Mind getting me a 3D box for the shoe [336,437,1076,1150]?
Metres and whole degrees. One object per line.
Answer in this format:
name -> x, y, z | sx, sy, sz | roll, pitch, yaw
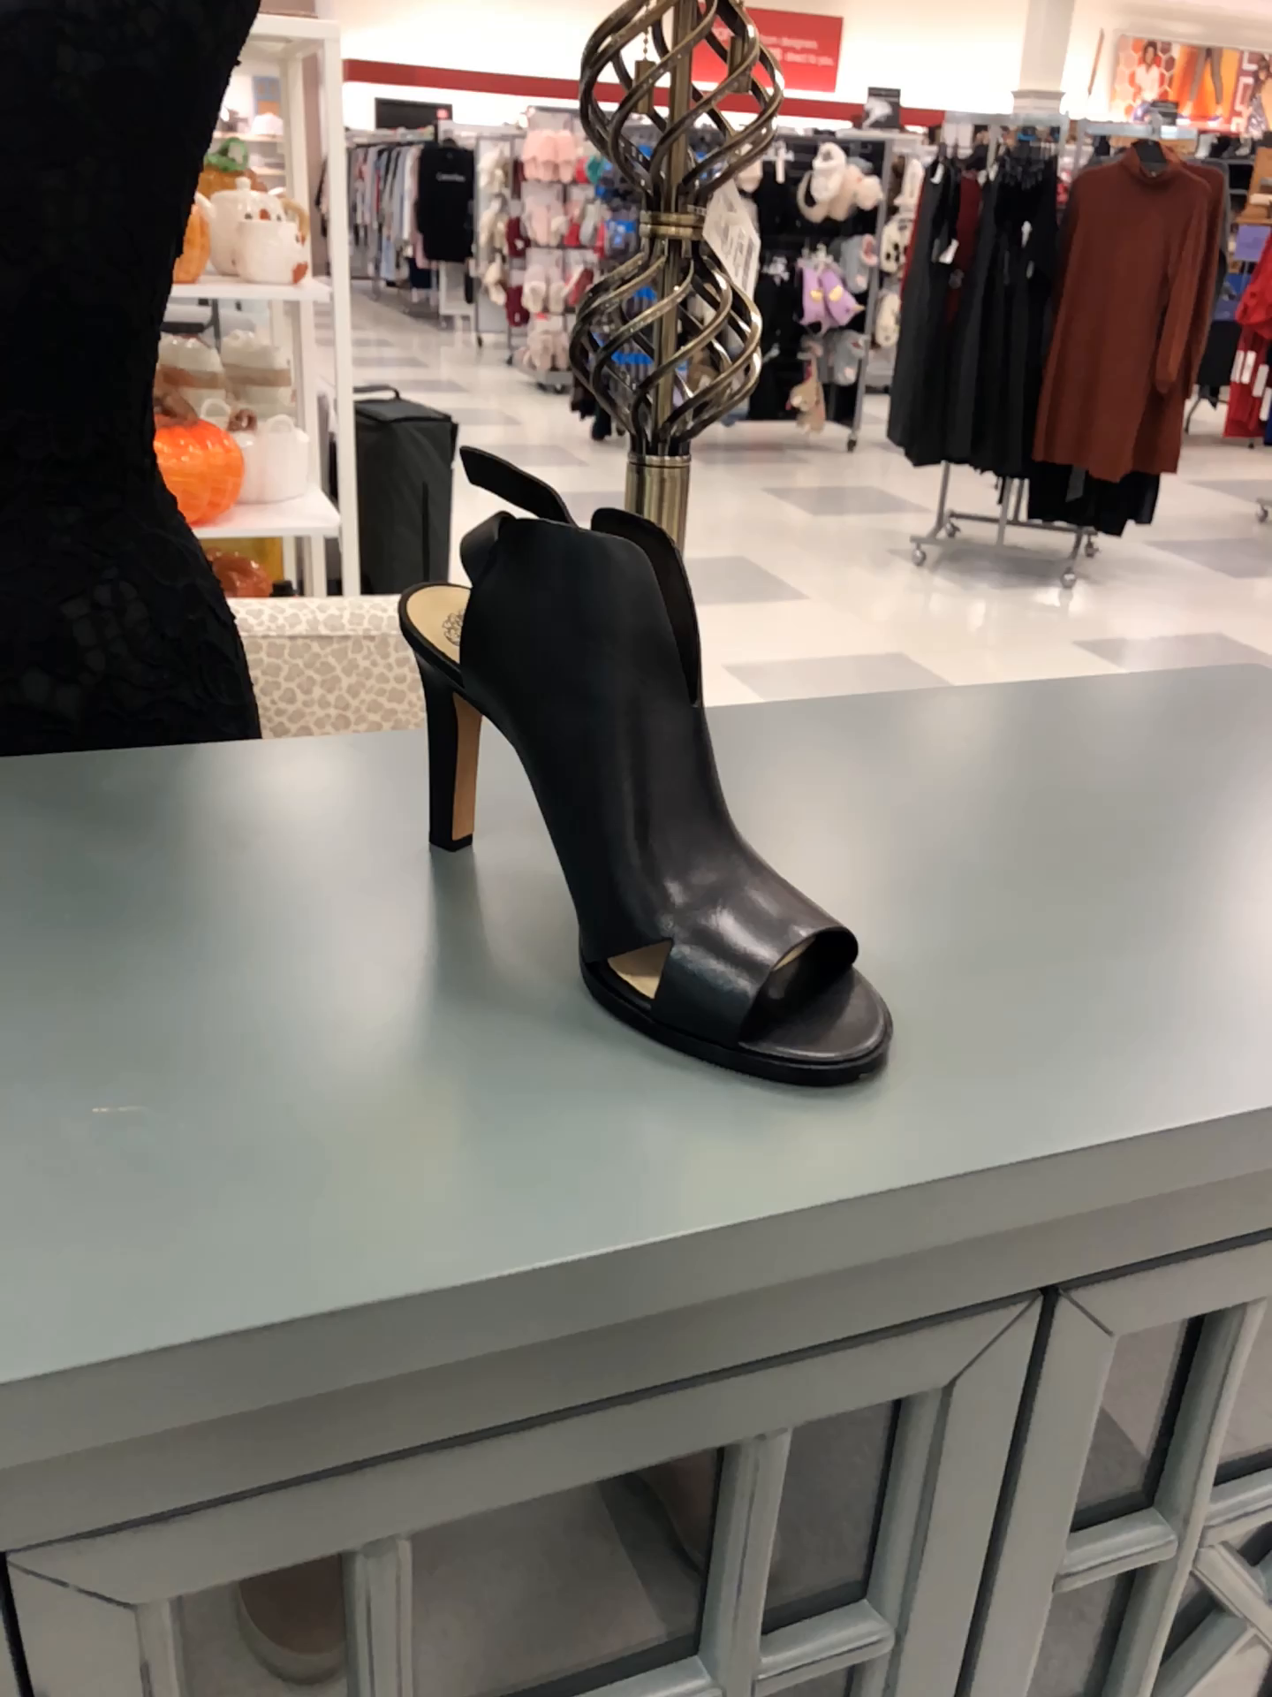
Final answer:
shoe -> 0.004, -0.038, 0.466 | 0.092, 0.151, 0.240 | -17, 32, -37
